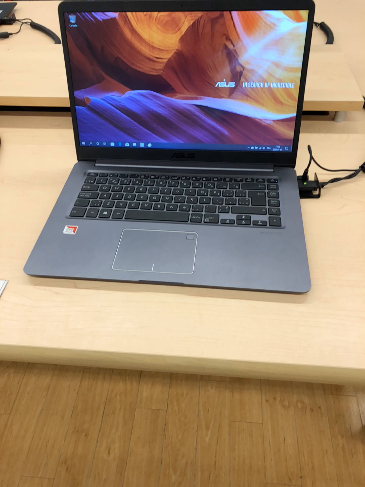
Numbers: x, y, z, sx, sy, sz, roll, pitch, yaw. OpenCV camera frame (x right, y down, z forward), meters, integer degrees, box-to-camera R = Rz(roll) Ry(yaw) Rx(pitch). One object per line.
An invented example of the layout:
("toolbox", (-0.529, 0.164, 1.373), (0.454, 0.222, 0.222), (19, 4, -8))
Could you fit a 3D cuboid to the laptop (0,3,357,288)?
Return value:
("laptop", (-0.015, -0.147, 0.539), (0.361, 0.223, 0.319), (3, 47, 6))
